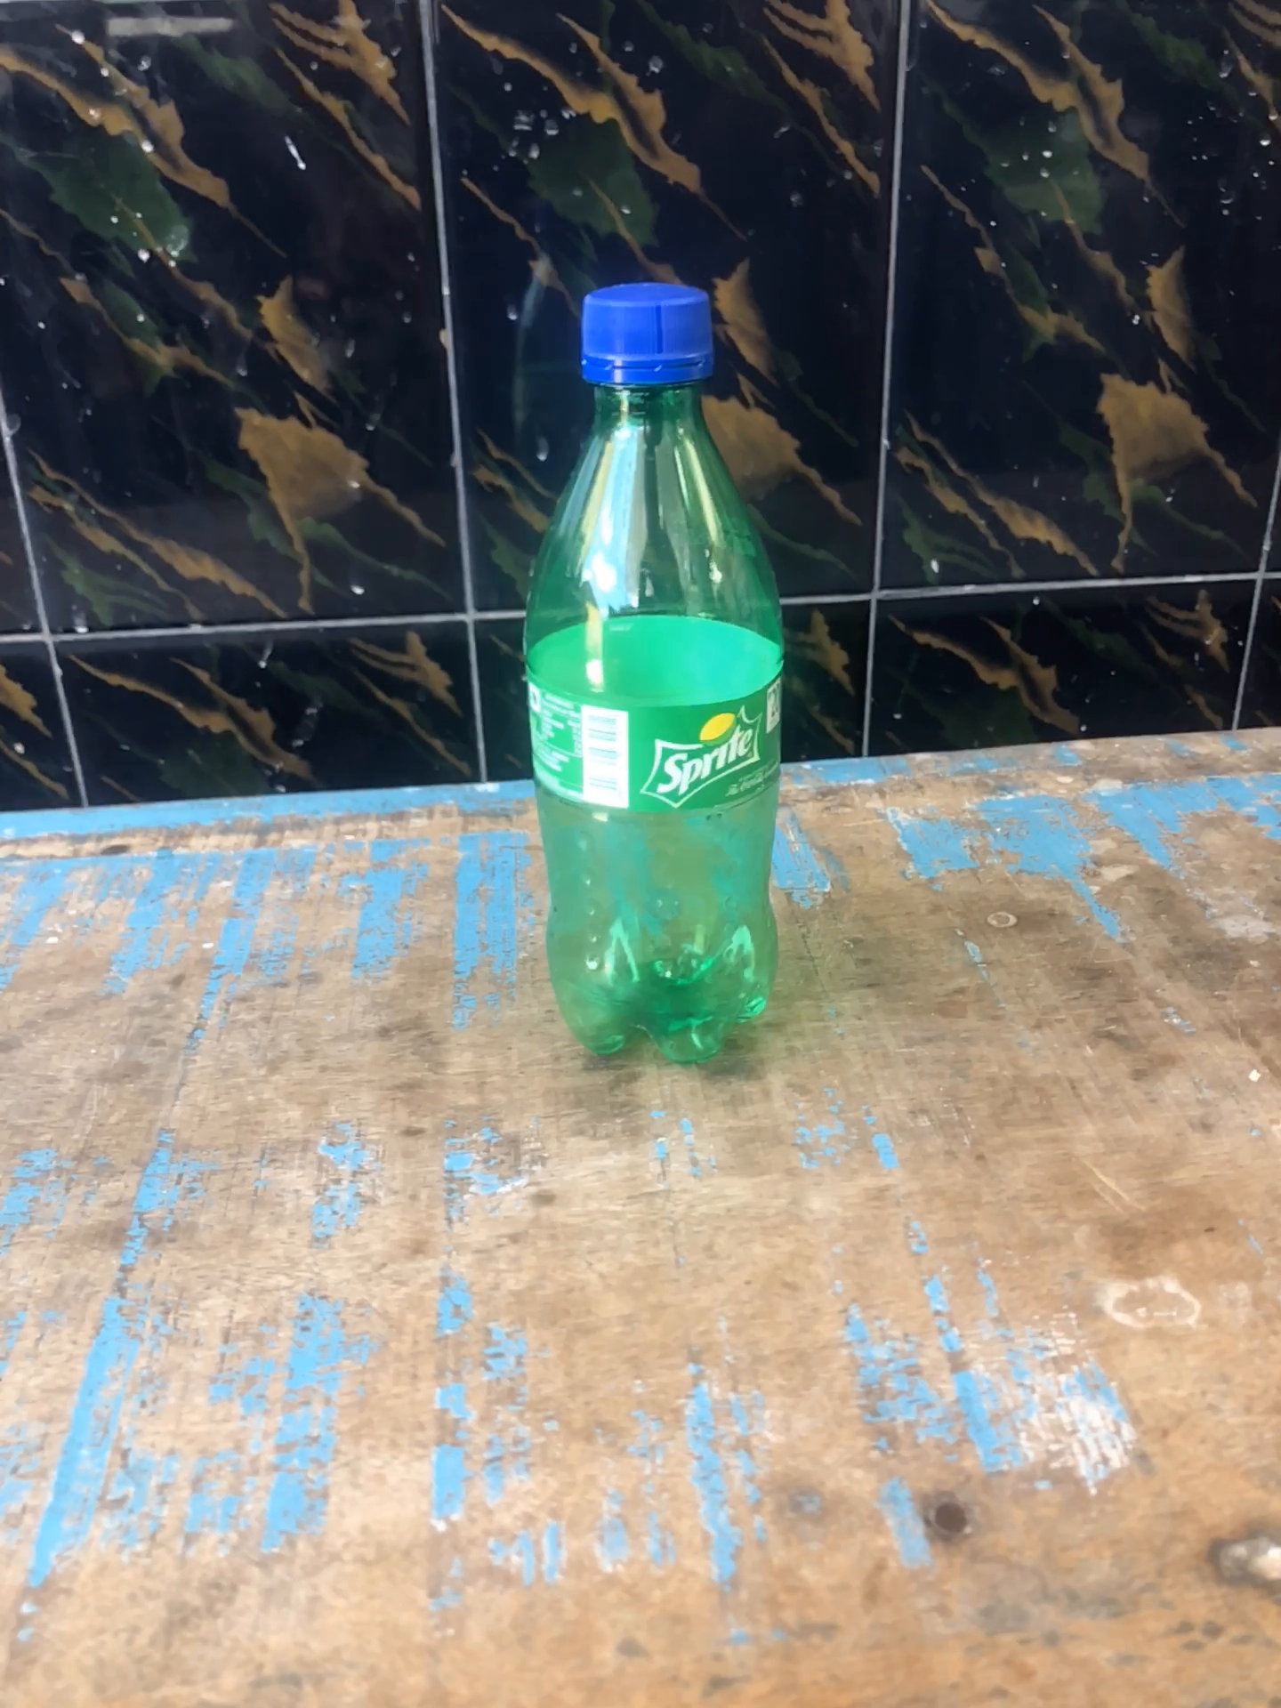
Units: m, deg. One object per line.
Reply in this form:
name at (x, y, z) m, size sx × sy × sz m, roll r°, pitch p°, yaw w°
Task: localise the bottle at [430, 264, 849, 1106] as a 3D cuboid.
bottle at (0.001, -0.035, 0.300) m, size 0.060 × 0.159 × 0.050 m, roll -19°, pitch 32°, yaw -30°
